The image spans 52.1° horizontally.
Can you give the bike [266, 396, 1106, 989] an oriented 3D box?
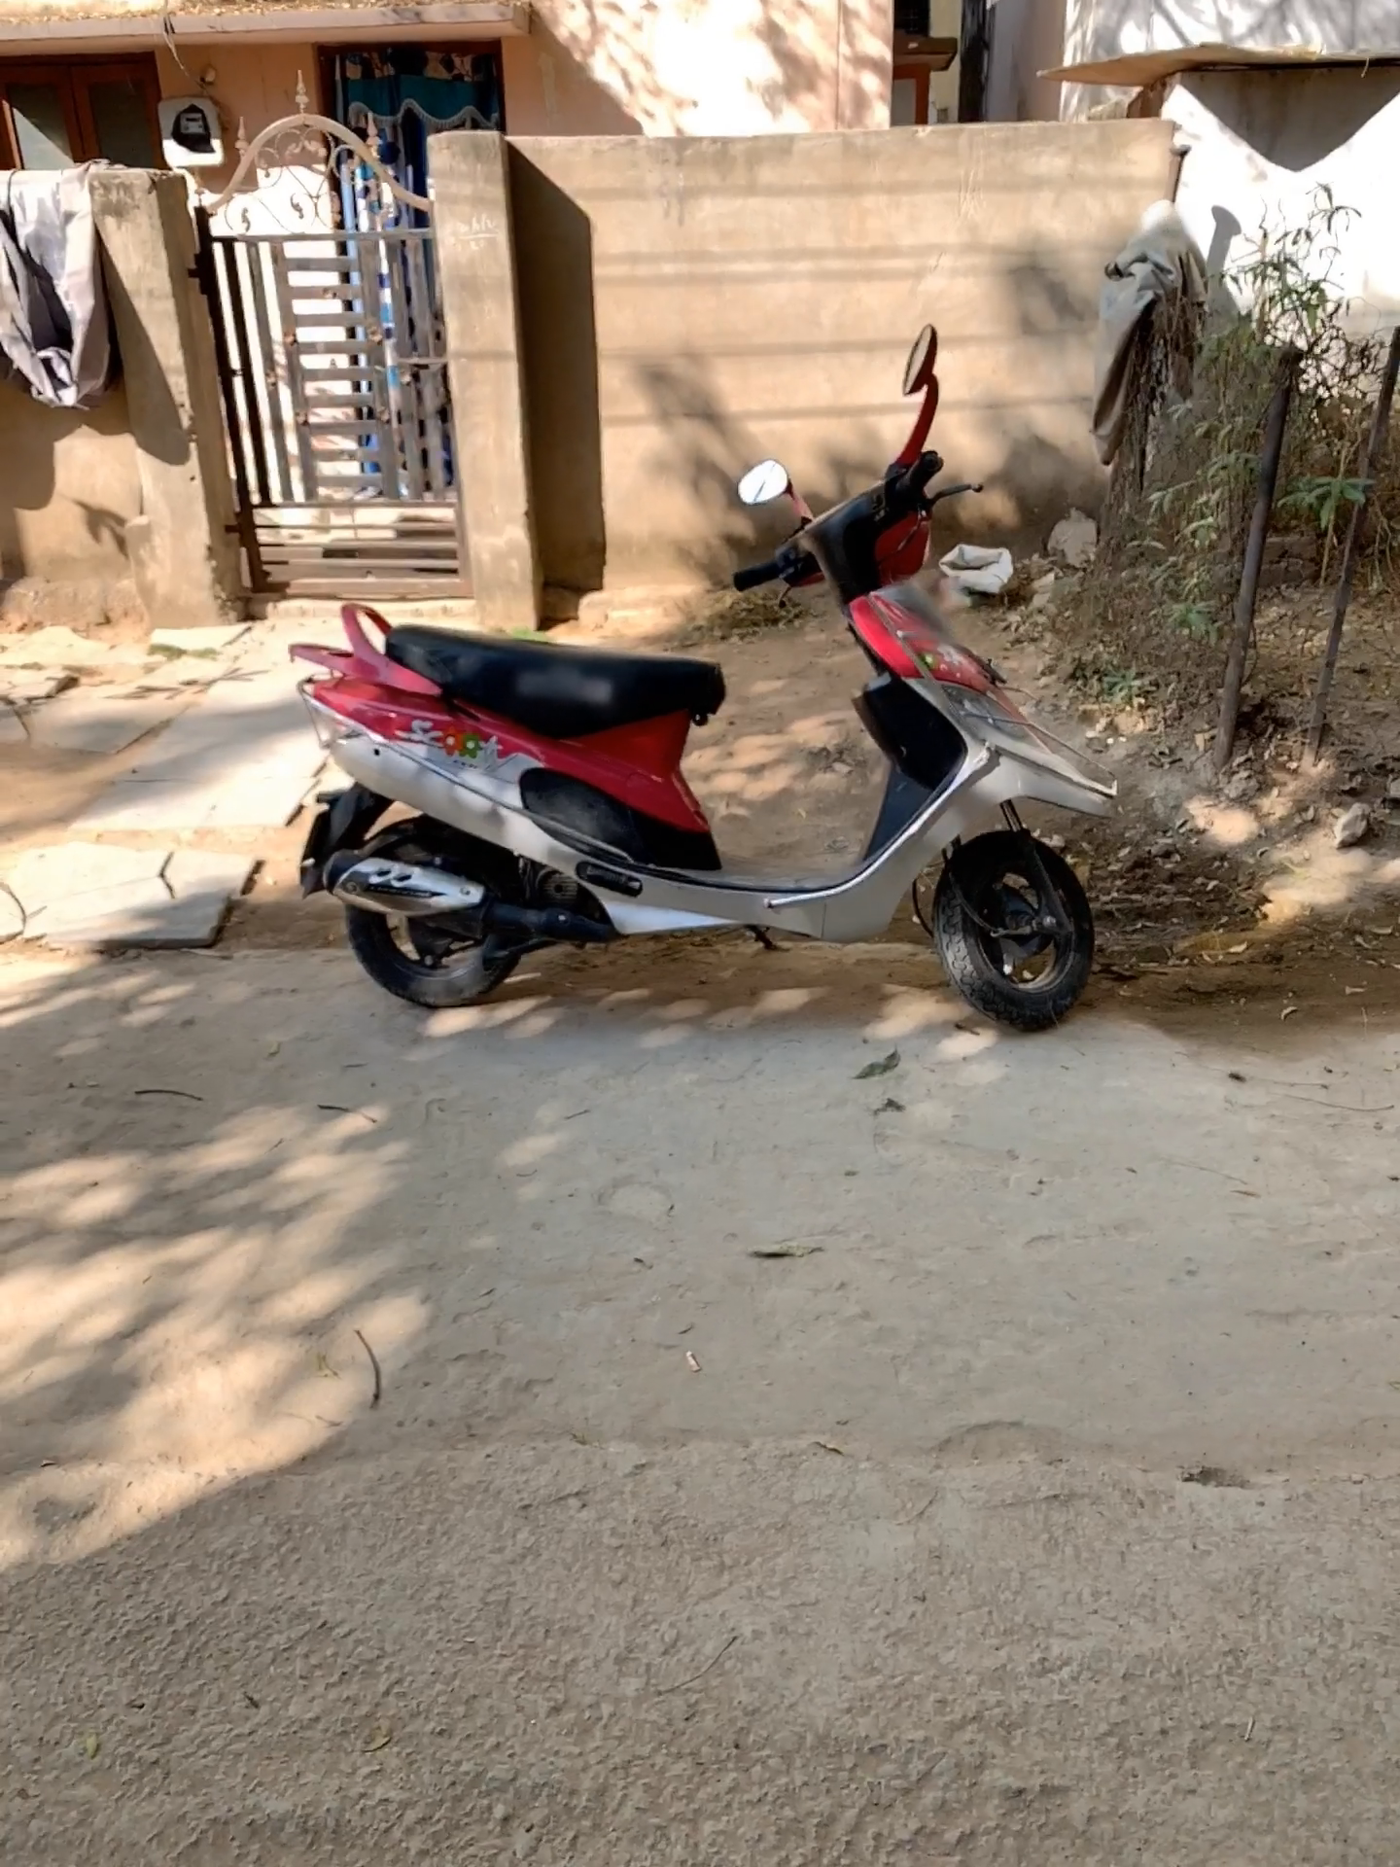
[{"bbox_3d":[0.014,-0.496,2.988,1.494,1.037,0.486,-2,26,2],"label":"bike"}]
